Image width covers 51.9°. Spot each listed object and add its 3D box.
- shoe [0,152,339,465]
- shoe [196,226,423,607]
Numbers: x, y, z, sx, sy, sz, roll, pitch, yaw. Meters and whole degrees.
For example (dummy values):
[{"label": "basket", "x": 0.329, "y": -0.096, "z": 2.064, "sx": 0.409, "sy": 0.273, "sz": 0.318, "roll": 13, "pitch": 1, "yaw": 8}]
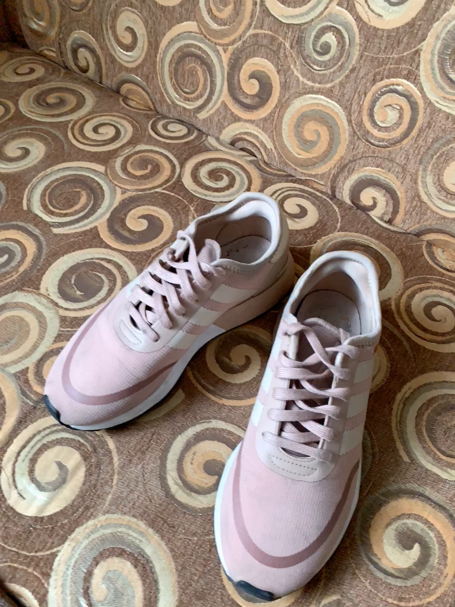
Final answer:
[{"label": "shoe", "x": -0.039, "y": -0.003, "z": 0.381, "sx": 0.250, "sy": 0.090, "sz": 0.100, "roll": -38, "pitch": 66, "yaw": -19}, {"label": "shoe", "x": 0.067, "y": 0.076, "z": 0.344, "sx": 0.100, "sy": 0.090, "sz": 0.251, "roll": 14, "pitch": 61, "yaw": 9}]
